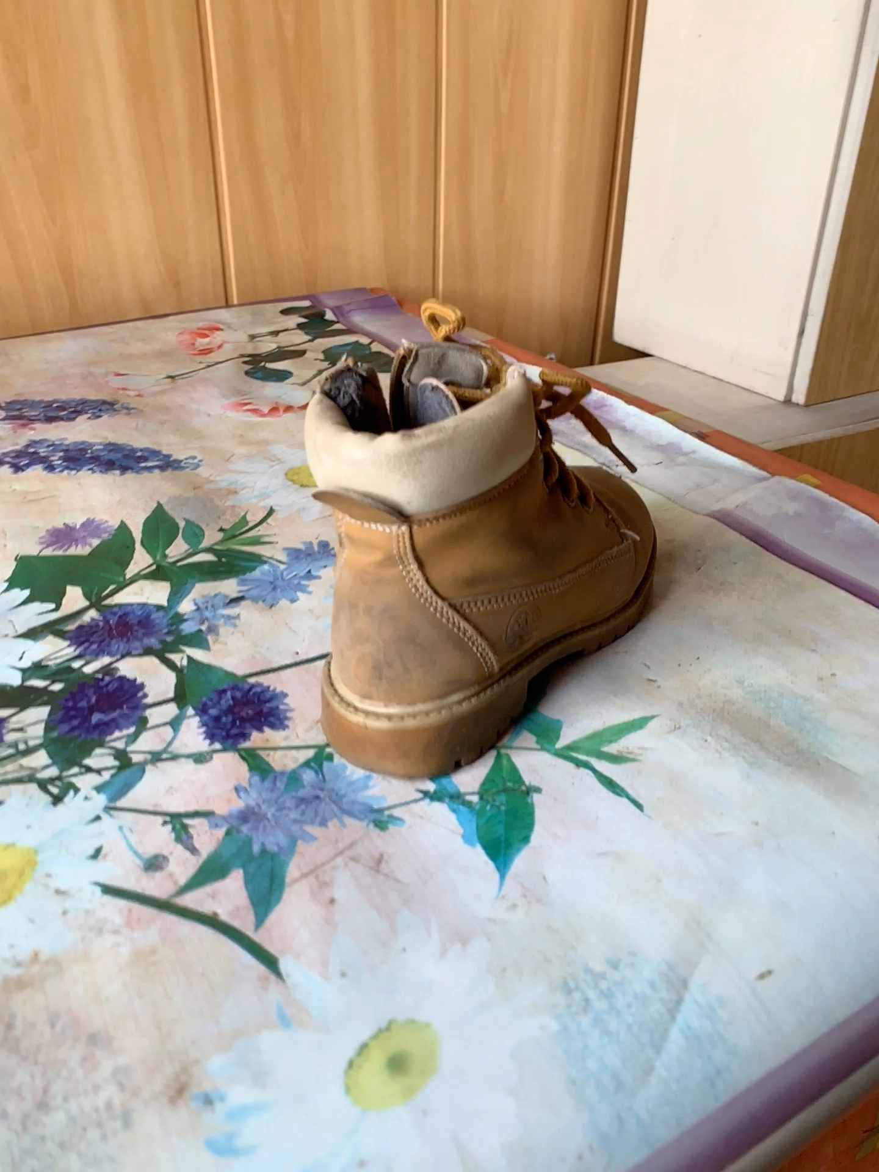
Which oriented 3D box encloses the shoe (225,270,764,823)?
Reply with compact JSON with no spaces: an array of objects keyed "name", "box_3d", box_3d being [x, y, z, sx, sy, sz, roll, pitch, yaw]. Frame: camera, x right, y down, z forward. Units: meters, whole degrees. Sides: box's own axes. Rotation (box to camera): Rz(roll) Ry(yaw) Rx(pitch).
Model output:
[{"name":"shoe","box_3d":[0.036,-0.037,0.360,0.090,0.129,0.221,20,35,31]}]
